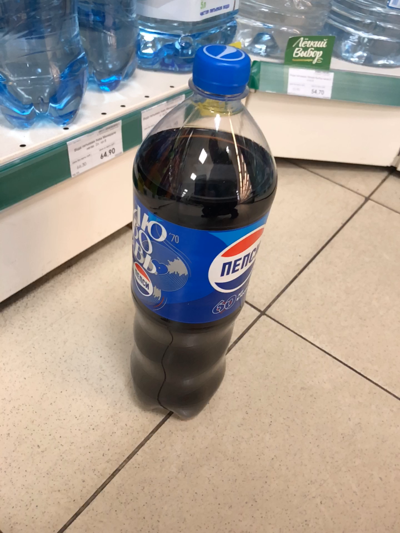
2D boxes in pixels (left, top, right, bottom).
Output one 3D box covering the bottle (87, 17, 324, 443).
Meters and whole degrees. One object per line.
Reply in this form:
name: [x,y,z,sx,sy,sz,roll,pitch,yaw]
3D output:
bottle: [-0.011,0.003,0.336,0.085,0.315,0.089,4,44,-4]
